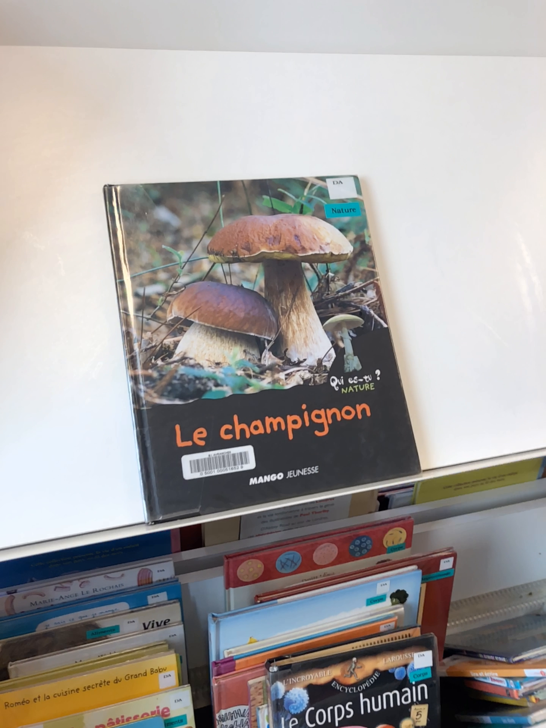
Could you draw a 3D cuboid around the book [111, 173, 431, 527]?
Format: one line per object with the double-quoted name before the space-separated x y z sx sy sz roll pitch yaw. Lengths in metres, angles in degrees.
"book" -0.002 -0.022 0.450 0.203 0.242 0.020 -7 -10 -16
